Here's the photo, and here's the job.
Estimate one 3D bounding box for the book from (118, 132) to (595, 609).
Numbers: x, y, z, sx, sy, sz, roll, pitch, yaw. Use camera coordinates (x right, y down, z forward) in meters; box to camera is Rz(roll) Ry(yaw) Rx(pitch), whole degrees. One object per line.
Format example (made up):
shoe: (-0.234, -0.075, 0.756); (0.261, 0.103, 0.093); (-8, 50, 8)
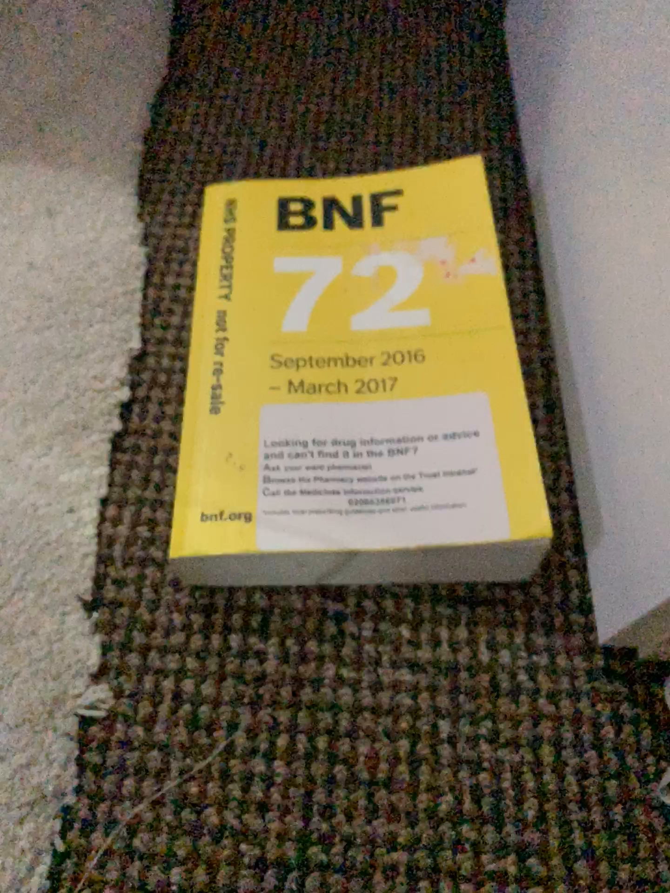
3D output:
book: (0.003, -0.046, 0.311); (0.160, 0.050, 0.221); (-1, 60, -3)
